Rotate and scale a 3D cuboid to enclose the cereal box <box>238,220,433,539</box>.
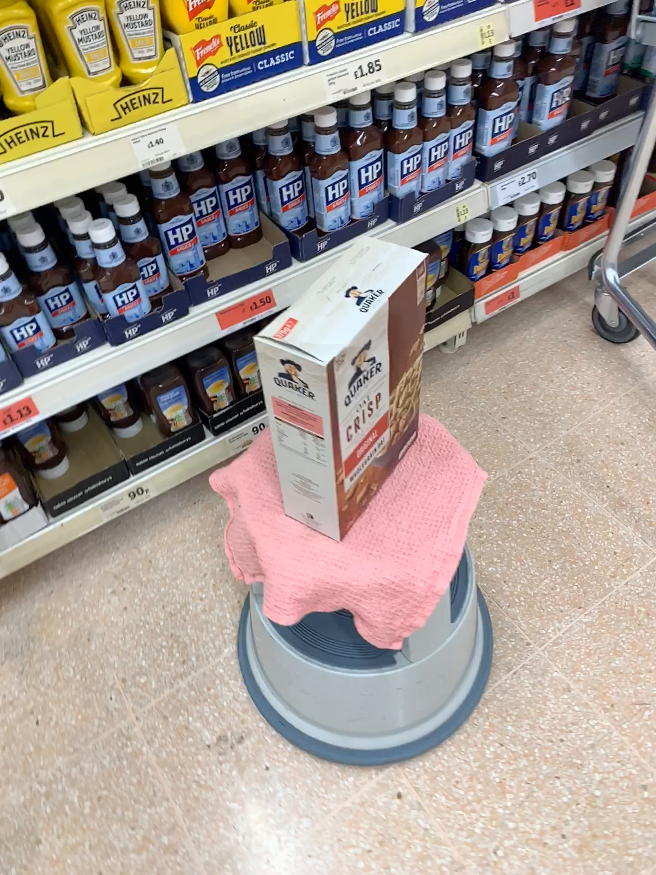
[{"bbox_3d":[0.018,-0.054,0.711,0.090,0.268,0.191,25,55,23],"label":"cereal box"}]
